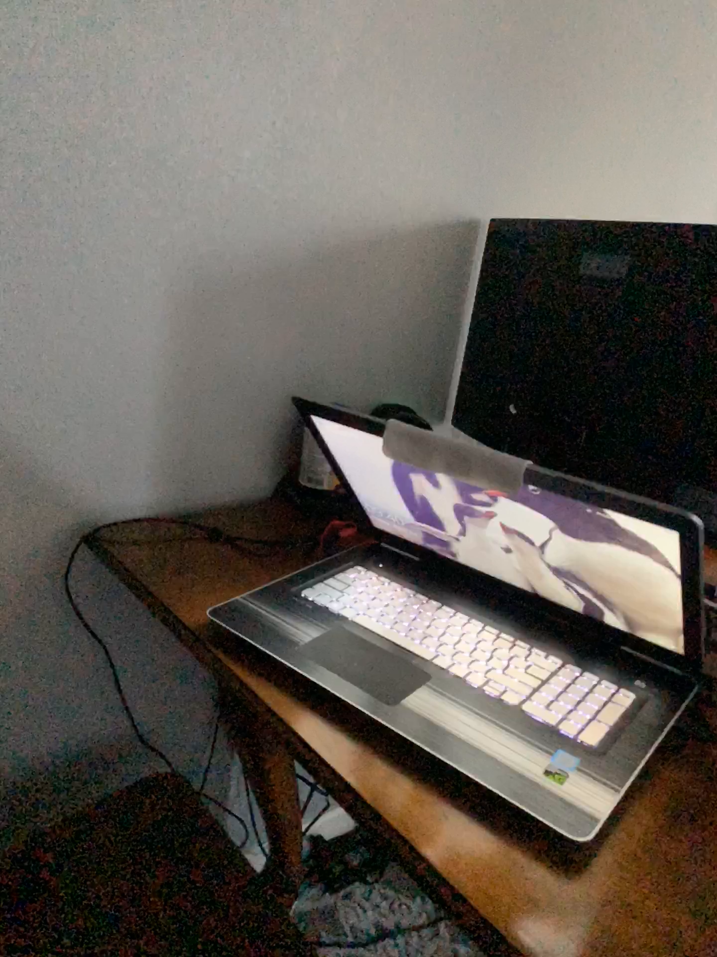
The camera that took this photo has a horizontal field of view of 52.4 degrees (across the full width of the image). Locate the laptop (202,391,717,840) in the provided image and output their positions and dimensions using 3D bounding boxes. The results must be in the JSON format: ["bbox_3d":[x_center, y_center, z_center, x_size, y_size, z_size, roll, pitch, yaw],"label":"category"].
[{"bbox_3d":[0.092,0.069,0.667,0.393,0.187,0.257,20,23,36],"label":"laptop"}]
